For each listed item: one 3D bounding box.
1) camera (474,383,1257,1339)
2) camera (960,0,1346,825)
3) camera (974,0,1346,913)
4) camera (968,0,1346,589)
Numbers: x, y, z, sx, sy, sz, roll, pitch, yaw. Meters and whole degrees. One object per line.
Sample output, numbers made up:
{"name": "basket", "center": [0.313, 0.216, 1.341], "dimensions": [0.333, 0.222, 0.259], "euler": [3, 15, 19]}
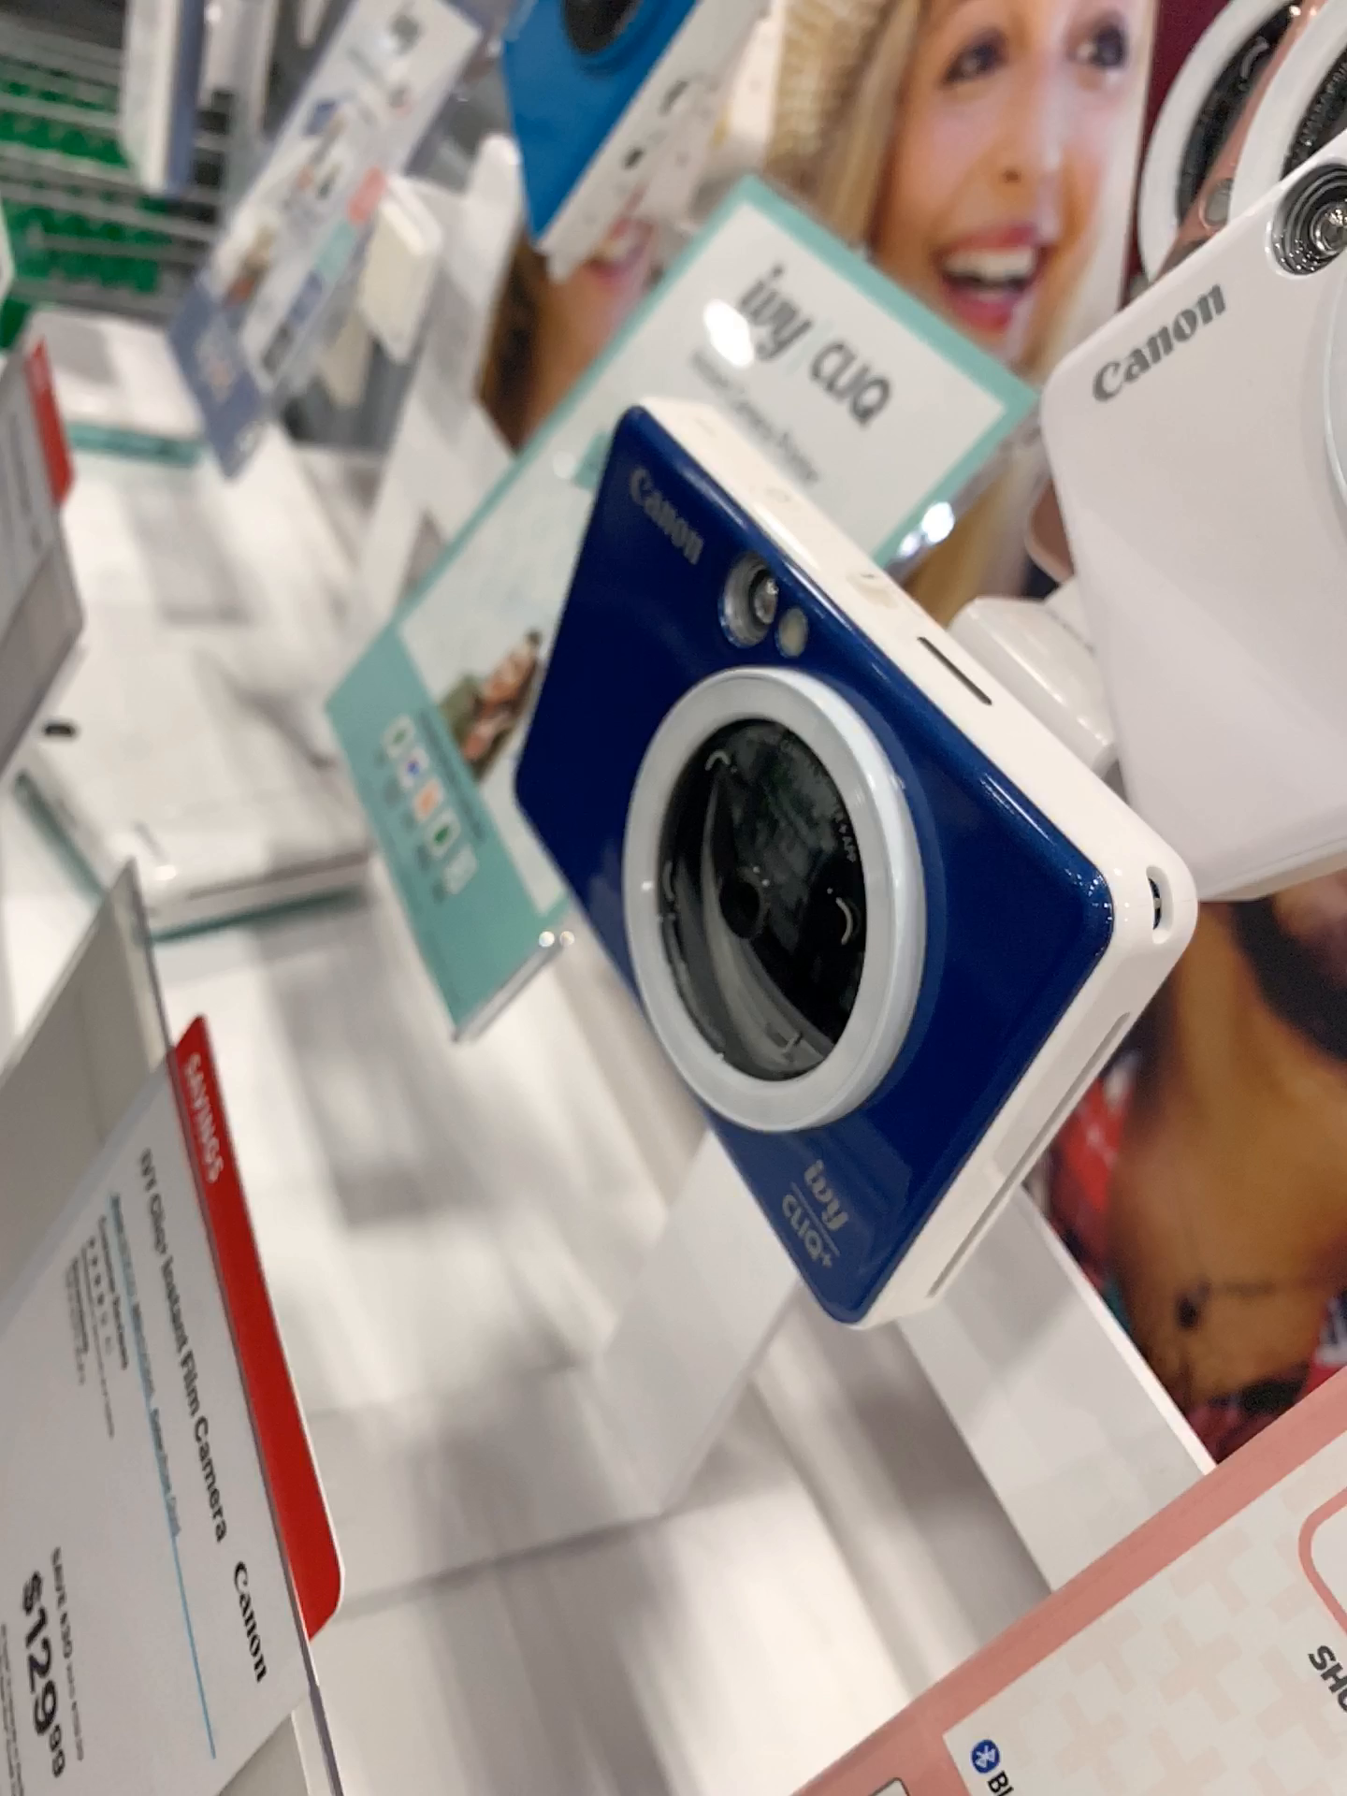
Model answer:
{"name": "camera", "center": [0.013, -0.012, 0.201], "dimensions": [0.028, 0.070, 0.120], "euler": [-5, 43, -31]}
{"name": "camera", "center": [0.095, -0.081, 0.188], "dimensions": [0.028, 0.119, 0.078], "euler": [-4, 42, -32]}
{"name": "camera", "center": [0.089, -0.052, 0.150], "dimensions": [0.028, 0.120, 0.078], "euler": [0, 74, -30]}
{"name": "camera", "center": [0.088, -0.106, 0.223], "dimensions": [0.028, 0.110, 0.078], "euler": [-6, 15, -31]}
